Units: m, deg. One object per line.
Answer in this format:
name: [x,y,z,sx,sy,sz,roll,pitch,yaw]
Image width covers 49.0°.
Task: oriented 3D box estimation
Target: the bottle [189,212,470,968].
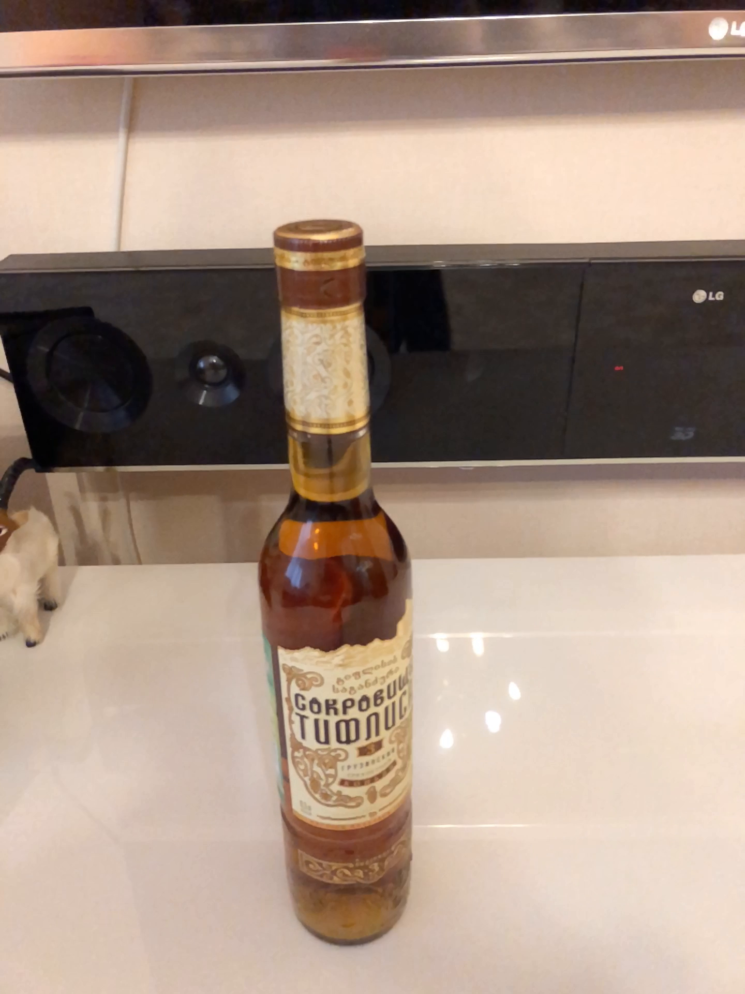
bottle: [-0.013,0.053,0.336,0.070,0.308,0.070,-1,28,1]
